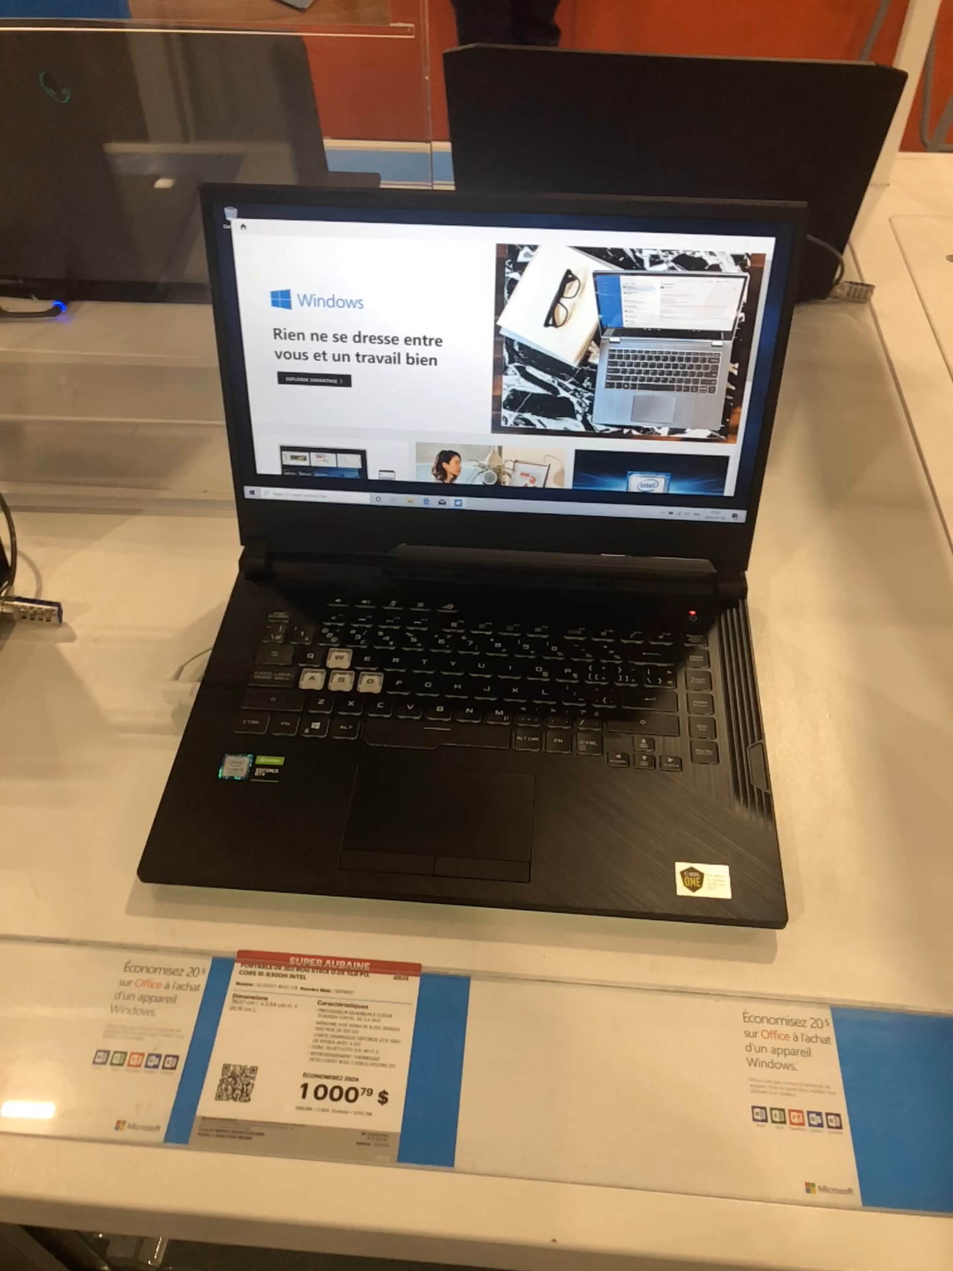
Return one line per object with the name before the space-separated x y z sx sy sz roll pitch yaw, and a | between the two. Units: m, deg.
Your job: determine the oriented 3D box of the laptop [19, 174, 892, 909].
laptop | 0.003 -0.068 0.623 0.363 0.236 0.346 3 50 4
